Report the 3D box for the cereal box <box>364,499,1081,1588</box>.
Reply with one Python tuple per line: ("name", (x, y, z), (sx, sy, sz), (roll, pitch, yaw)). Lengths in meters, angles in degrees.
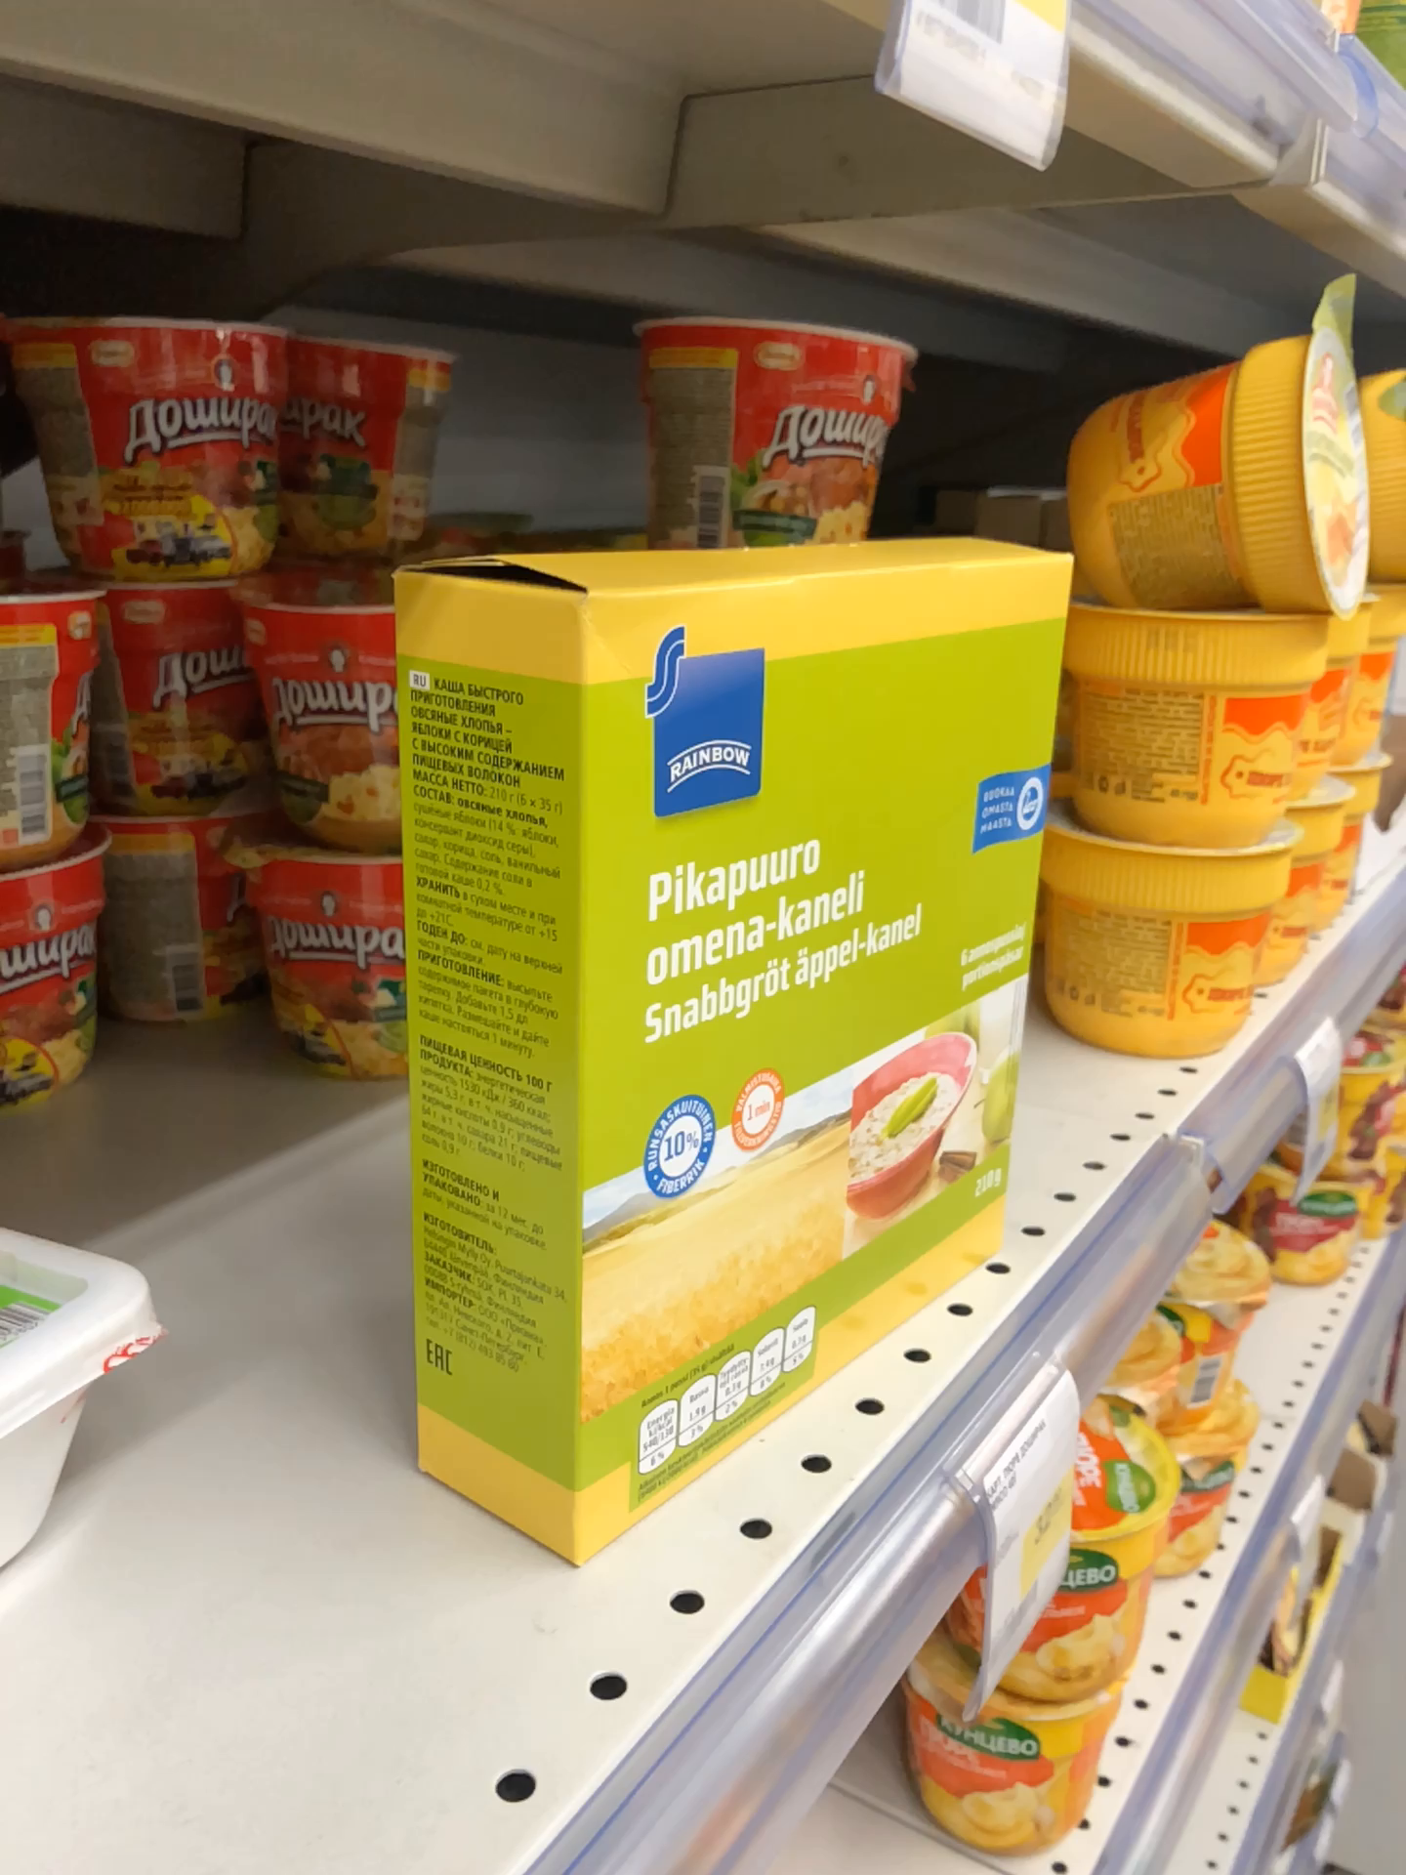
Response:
("cereal box", (0.013, 0.005, 0.337), (0.050, 0.189, 0.170), (14, 21, 36))
